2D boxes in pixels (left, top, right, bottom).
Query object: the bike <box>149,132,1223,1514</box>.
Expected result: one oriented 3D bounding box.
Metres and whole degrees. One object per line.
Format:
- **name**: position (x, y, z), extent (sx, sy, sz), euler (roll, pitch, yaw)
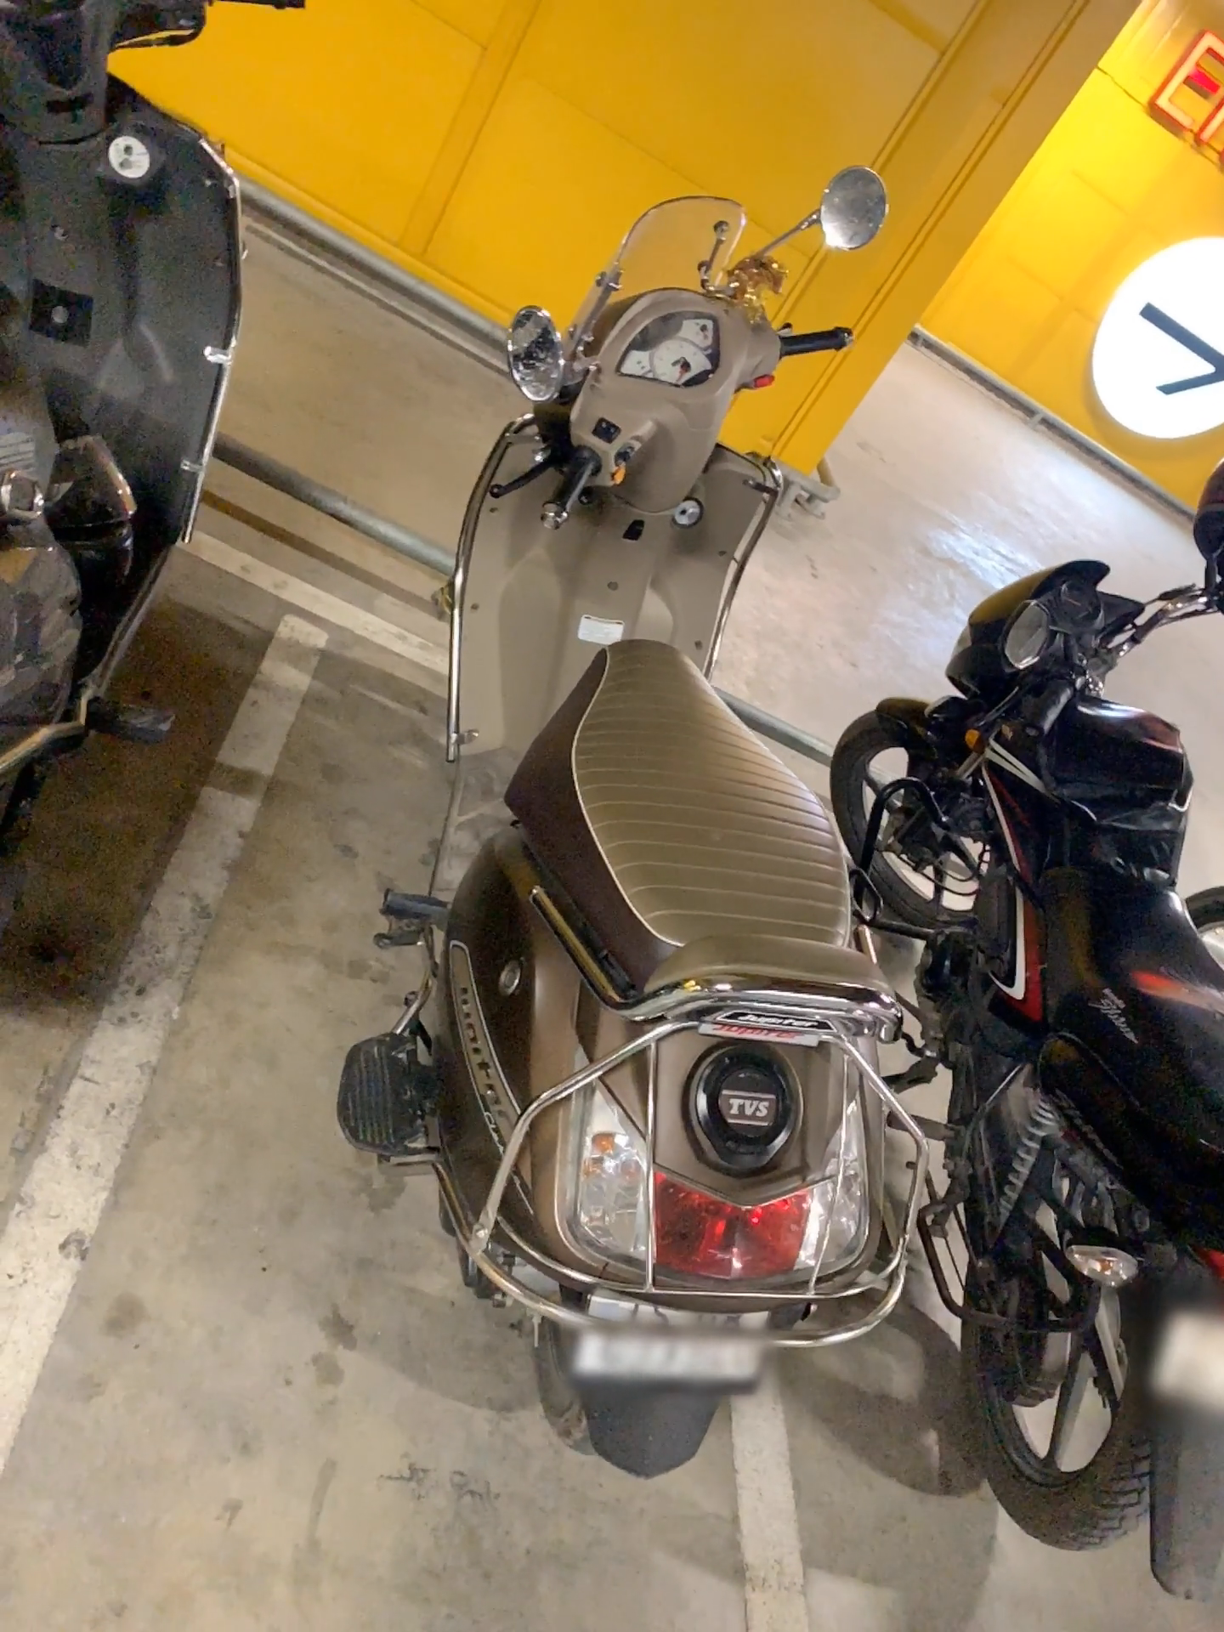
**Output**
- **bike**: position (-0.102, -0.094, 1.686), extent (0.605, 1.027, 1.559), euler (18, 33, -27)
